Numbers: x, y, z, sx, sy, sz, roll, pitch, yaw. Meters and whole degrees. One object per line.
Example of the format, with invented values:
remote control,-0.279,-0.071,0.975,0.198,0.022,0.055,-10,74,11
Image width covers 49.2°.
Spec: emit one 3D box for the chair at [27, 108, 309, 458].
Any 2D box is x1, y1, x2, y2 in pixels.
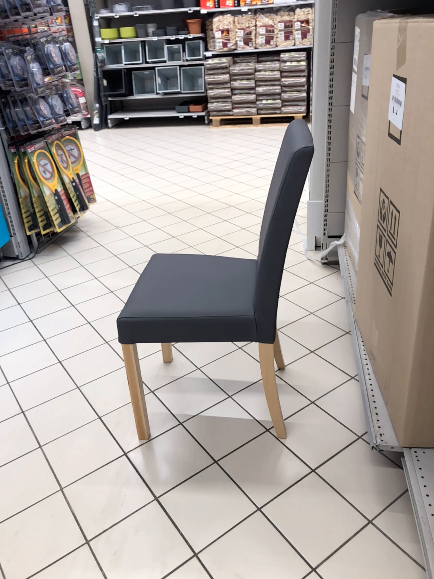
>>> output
chair,-0.069,-0.026,1.352,0.570,0.826,0.473,-5,26,2
